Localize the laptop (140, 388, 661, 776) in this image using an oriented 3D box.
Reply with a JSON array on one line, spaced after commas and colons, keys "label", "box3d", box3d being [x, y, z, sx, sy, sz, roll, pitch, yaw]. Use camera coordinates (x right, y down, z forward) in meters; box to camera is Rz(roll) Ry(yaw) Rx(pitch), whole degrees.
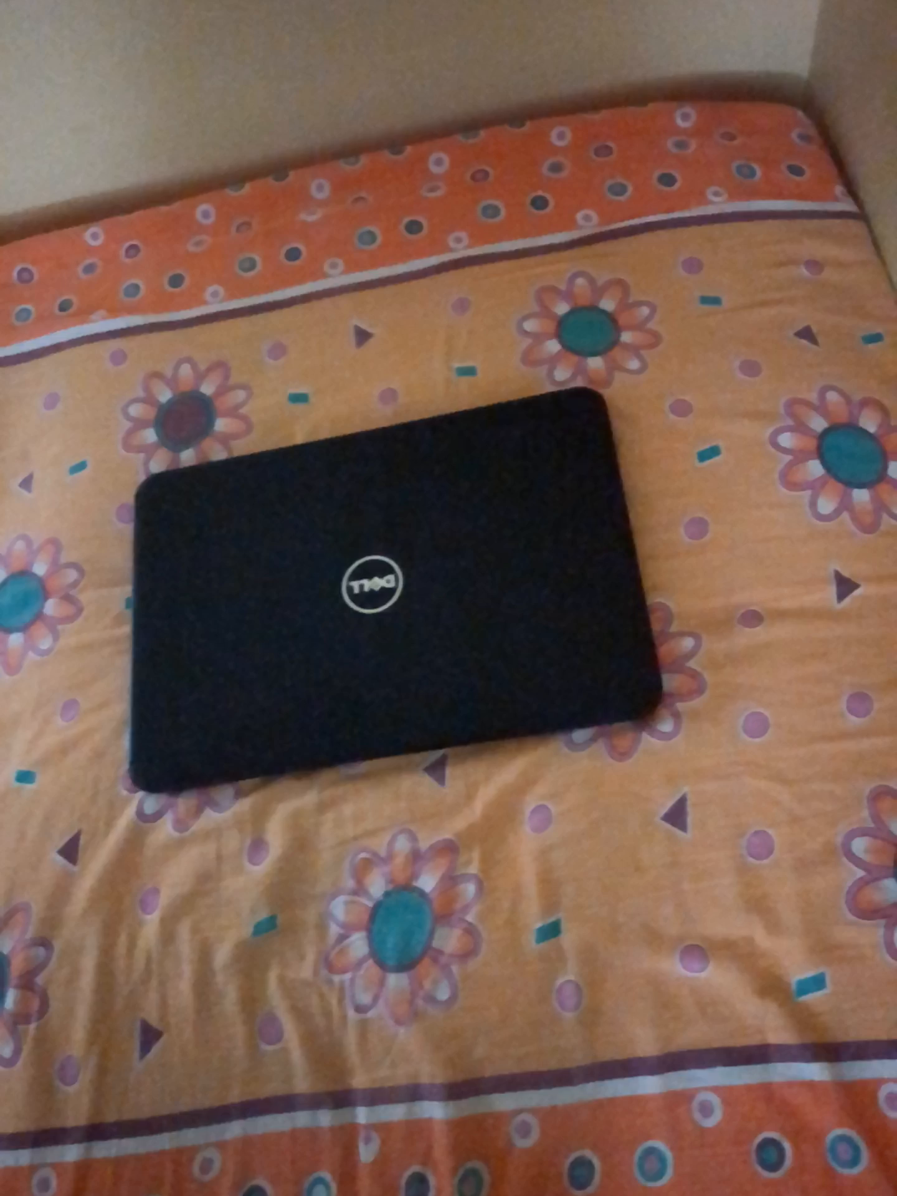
[{"label": "laptop", "box3d": [-0.053, -0.015, 0.710, 0.358, 0.001, 0.236, -10, 68, 8]}]
